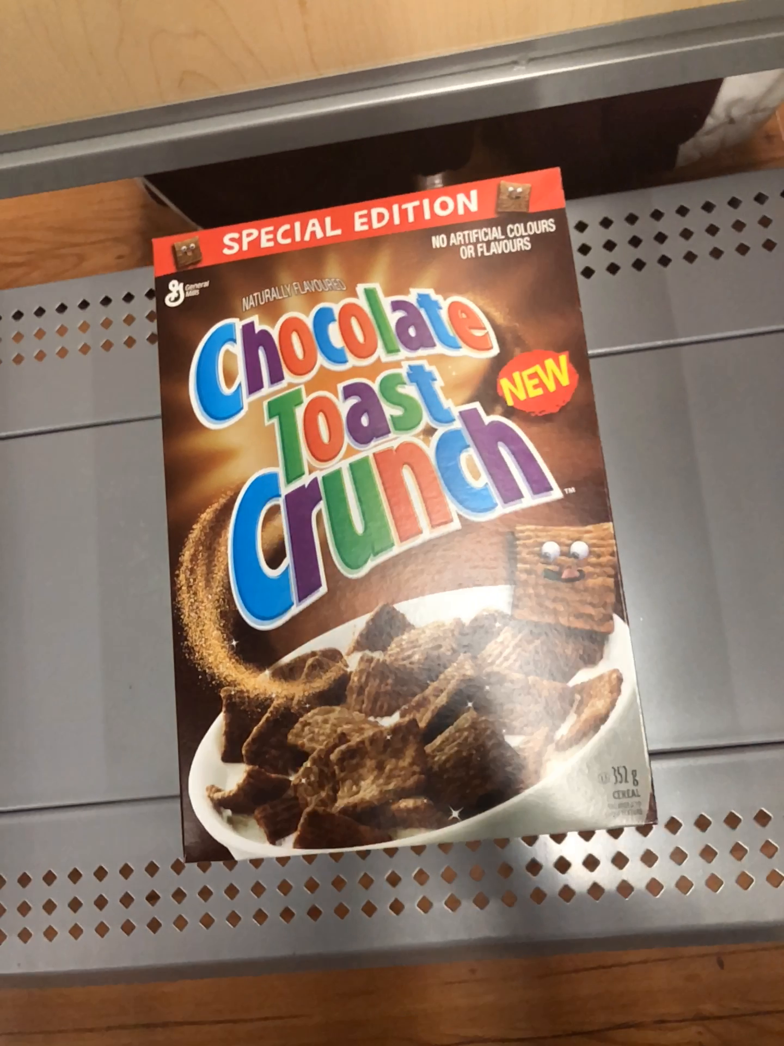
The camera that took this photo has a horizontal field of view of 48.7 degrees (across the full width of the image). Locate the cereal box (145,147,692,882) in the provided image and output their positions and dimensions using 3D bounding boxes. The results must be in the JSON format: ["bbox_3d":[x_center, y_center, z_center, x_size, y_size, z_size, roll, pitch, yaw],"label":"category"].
[{"bbox_3d":[0.003,-0.003,0.404,0.200,0.090,0.290,-7,77,6],"label":"cereal box"}]
